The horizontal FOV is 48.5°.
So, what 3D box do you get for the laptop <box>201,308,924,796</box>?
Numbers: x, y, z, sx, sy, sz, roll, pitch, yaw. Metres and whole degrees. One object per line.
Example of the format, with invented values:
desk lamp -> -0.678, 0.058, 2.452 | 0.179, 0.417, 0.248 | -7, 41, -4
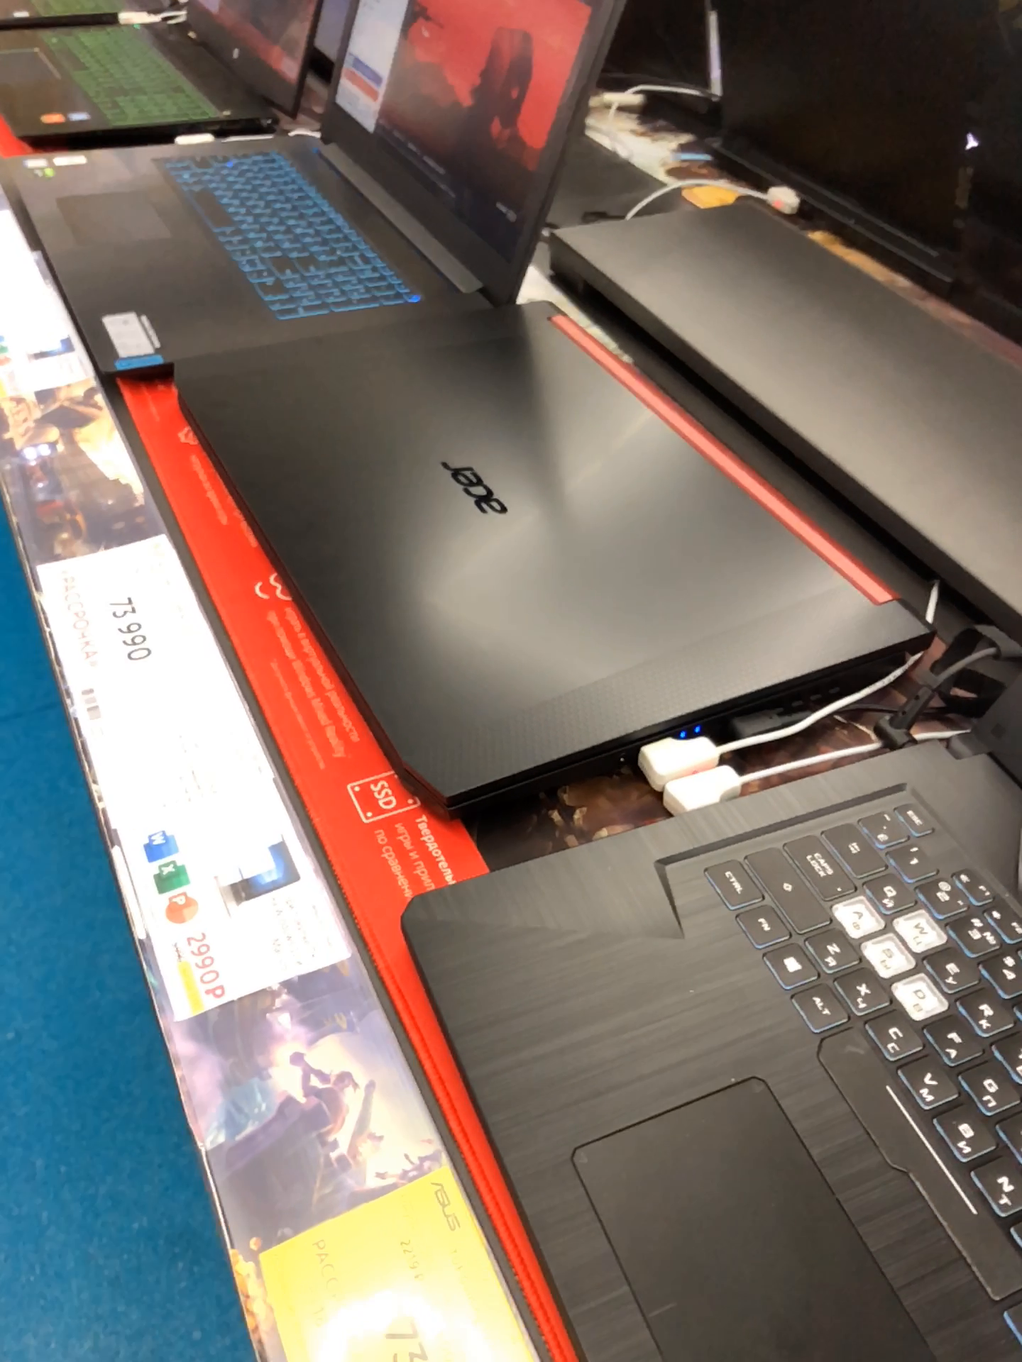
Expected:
laptop -> 0.007, -0.107, 0.626 | 0.255, 0.002, 0.371 | -17, 48, -22
